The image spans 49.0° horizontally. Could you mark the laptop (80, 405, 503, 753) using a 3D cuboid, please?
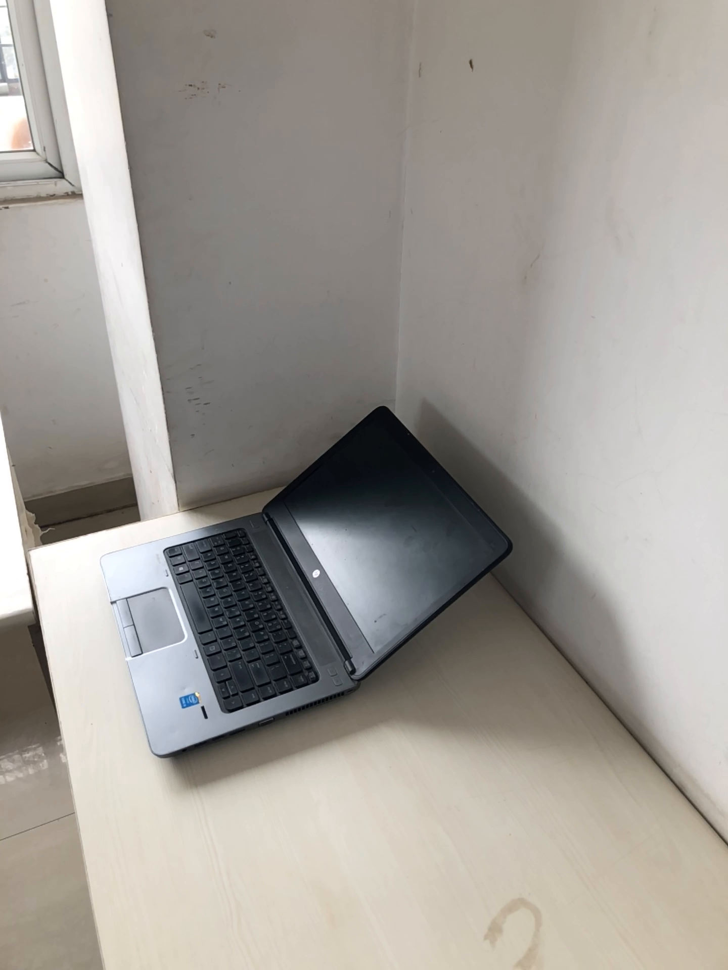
[{"bbox_3d":[-0.100,0.083,0.980,0.406,0.137,0.329,-15,40,-20],"label":"laptop"}]
